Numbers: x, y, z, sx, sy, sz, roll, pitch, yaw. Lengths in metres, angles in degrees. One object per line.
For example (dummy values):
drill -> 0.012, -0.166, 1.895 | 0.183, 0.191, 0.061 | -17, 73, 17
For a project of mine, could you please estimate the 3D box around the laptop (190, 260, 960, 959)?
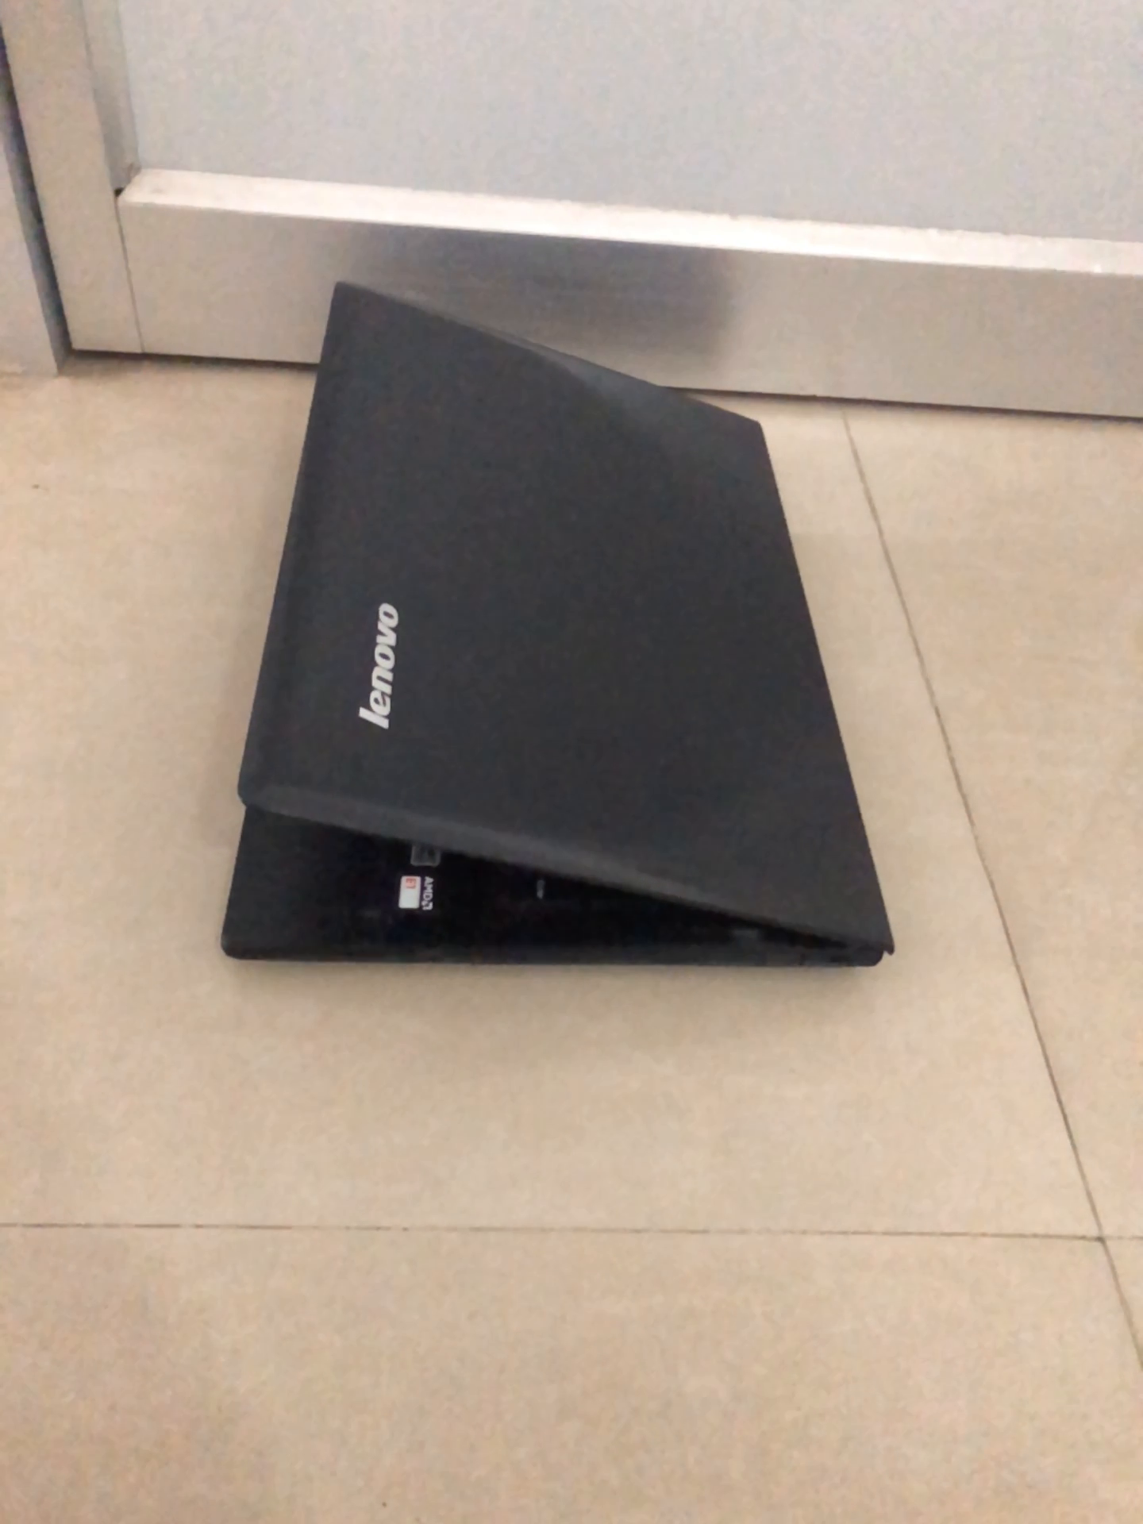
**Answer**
laptop -> -0.005, -0.092, 0.580 | 0.257, 0.097, 0.369 | 2, 46, -6
